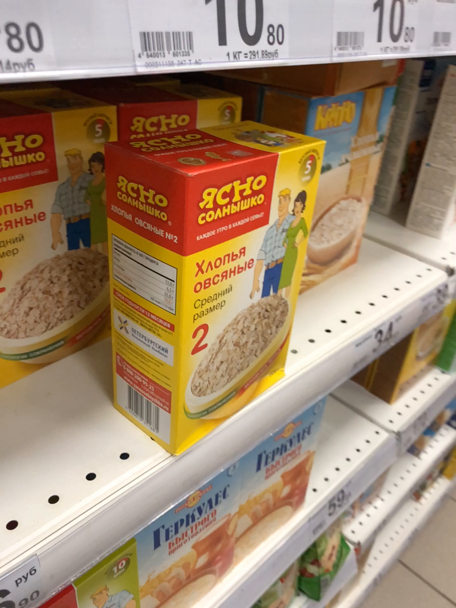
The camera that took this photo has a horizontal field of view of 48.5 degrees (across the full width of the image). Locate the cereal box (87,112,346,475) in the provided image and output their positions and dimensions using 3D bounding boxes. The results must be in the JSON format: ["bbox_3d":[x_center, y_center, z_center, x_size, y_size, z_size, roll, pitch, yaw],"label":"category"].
[{"bbox_3d":[-0.008,-0.011,0.326,0.070,0.189,0.130,30,40,34],"label":"cereal box"}]
